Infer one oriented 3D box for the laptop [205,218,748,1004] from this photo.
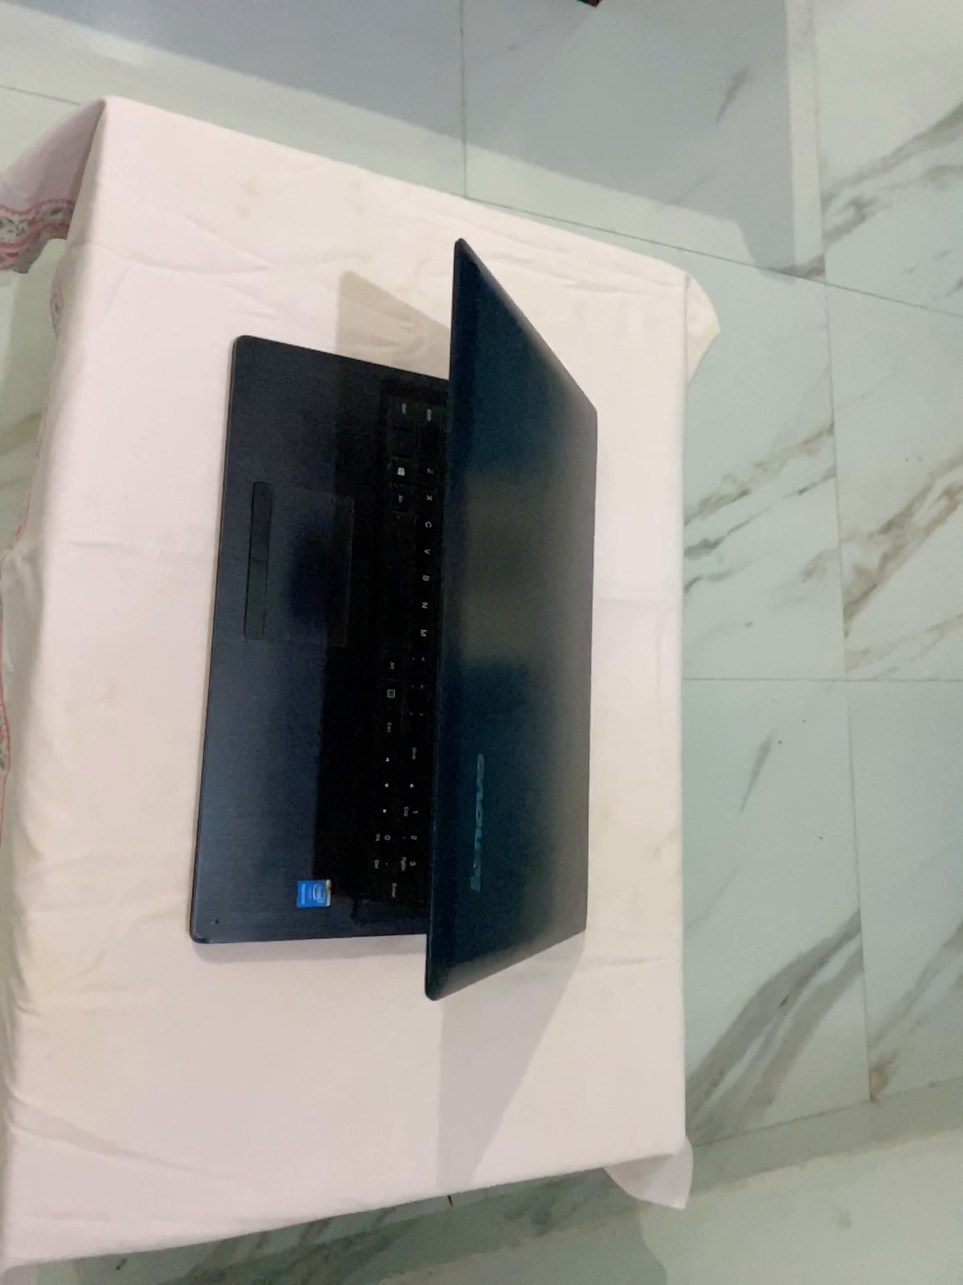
[{"bbox_3d":[-0.004,-0.005,0.584,0.259,0.176,0.368,5,82,-24],"label":"laptop"}]
